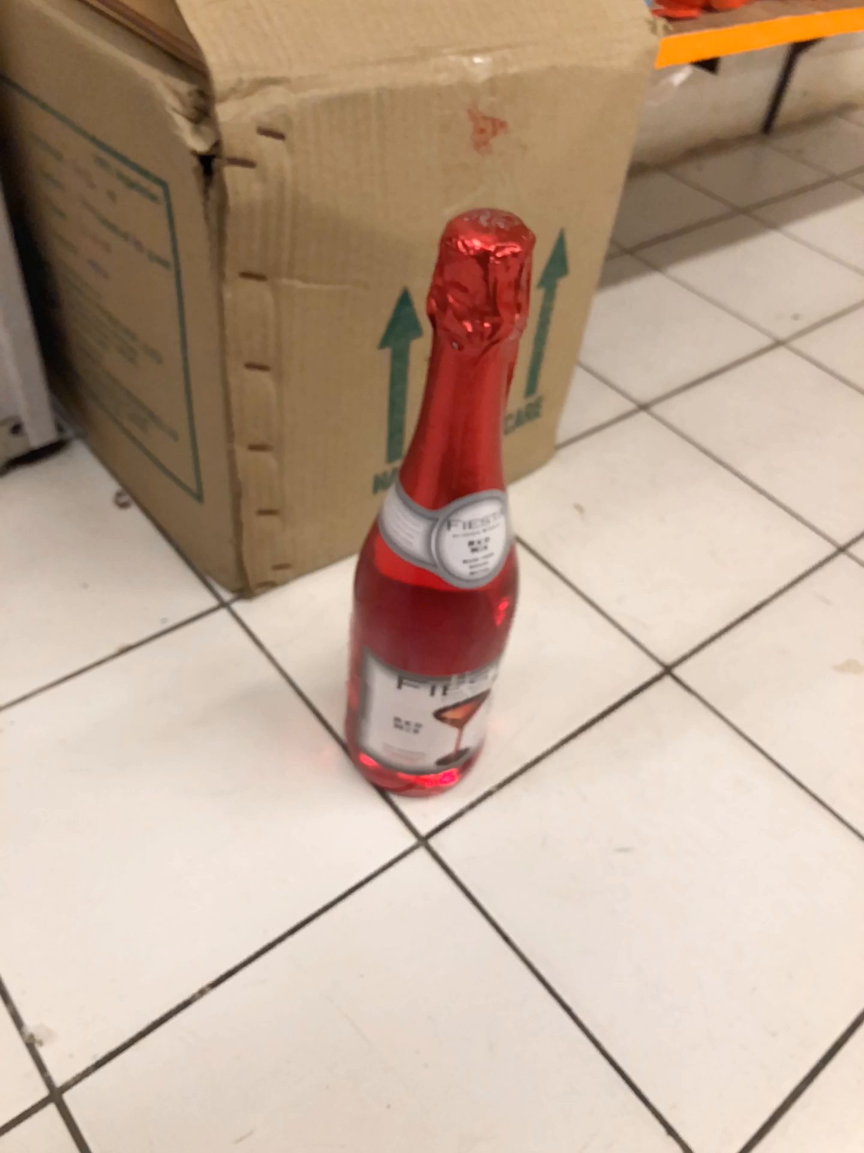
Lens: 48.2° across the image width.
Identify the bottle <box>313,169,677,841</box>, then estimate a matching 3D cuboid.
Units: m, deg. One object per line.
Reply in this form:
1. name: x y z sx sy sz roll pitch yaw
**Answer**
1. bottle: 0.008 -0.010 0.430 0.090 0.298 0.080 -22 52 -27
